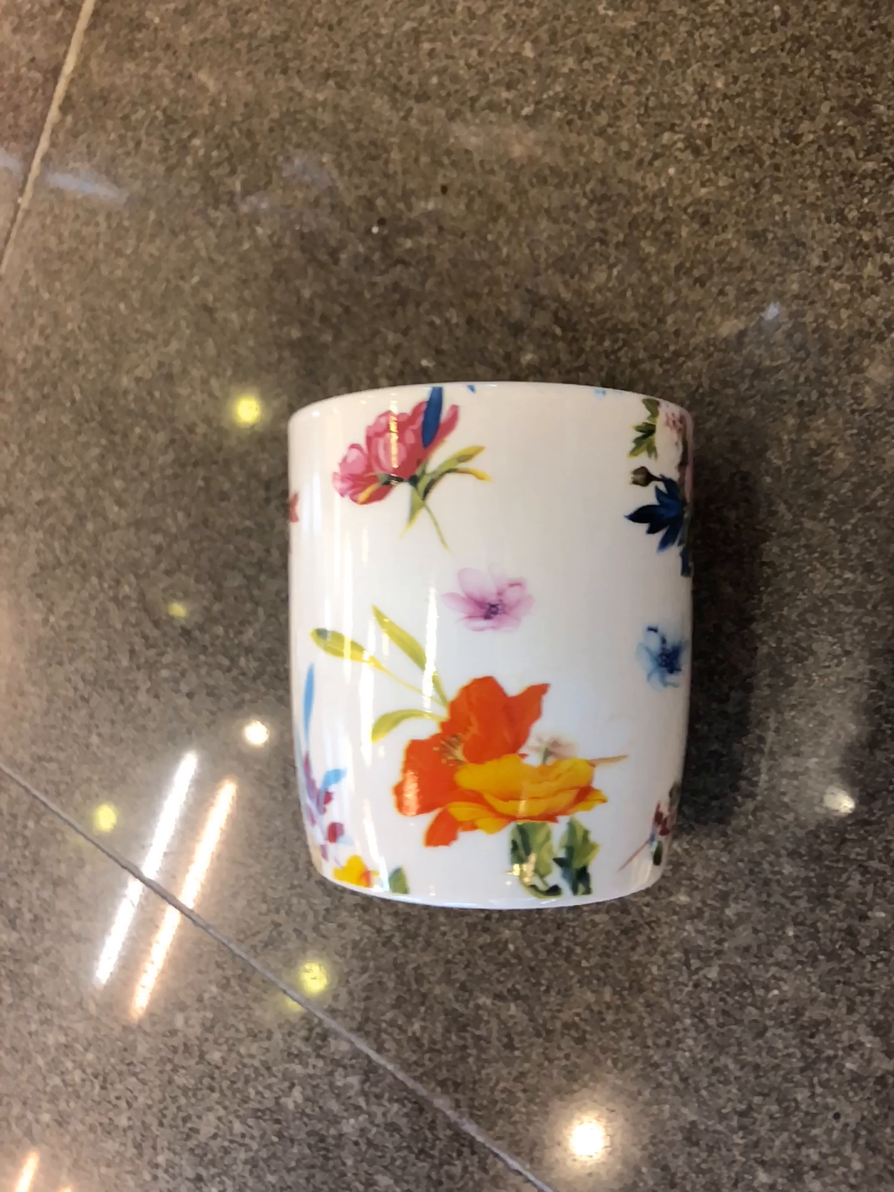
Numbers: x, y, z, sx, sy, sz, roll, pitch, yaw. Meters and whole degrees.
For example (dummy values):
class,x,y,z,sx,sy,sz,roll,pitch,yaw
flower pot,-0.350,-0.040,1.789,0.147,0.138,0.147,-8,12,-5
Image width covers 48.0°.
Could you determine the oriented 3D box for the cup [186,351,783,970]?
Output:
class,x,y,z,sx,sy,sz,roll,pitch,yaw
cup,-0.002,0.013,0.217,0.120,0.080,0.090,-6,83,63
